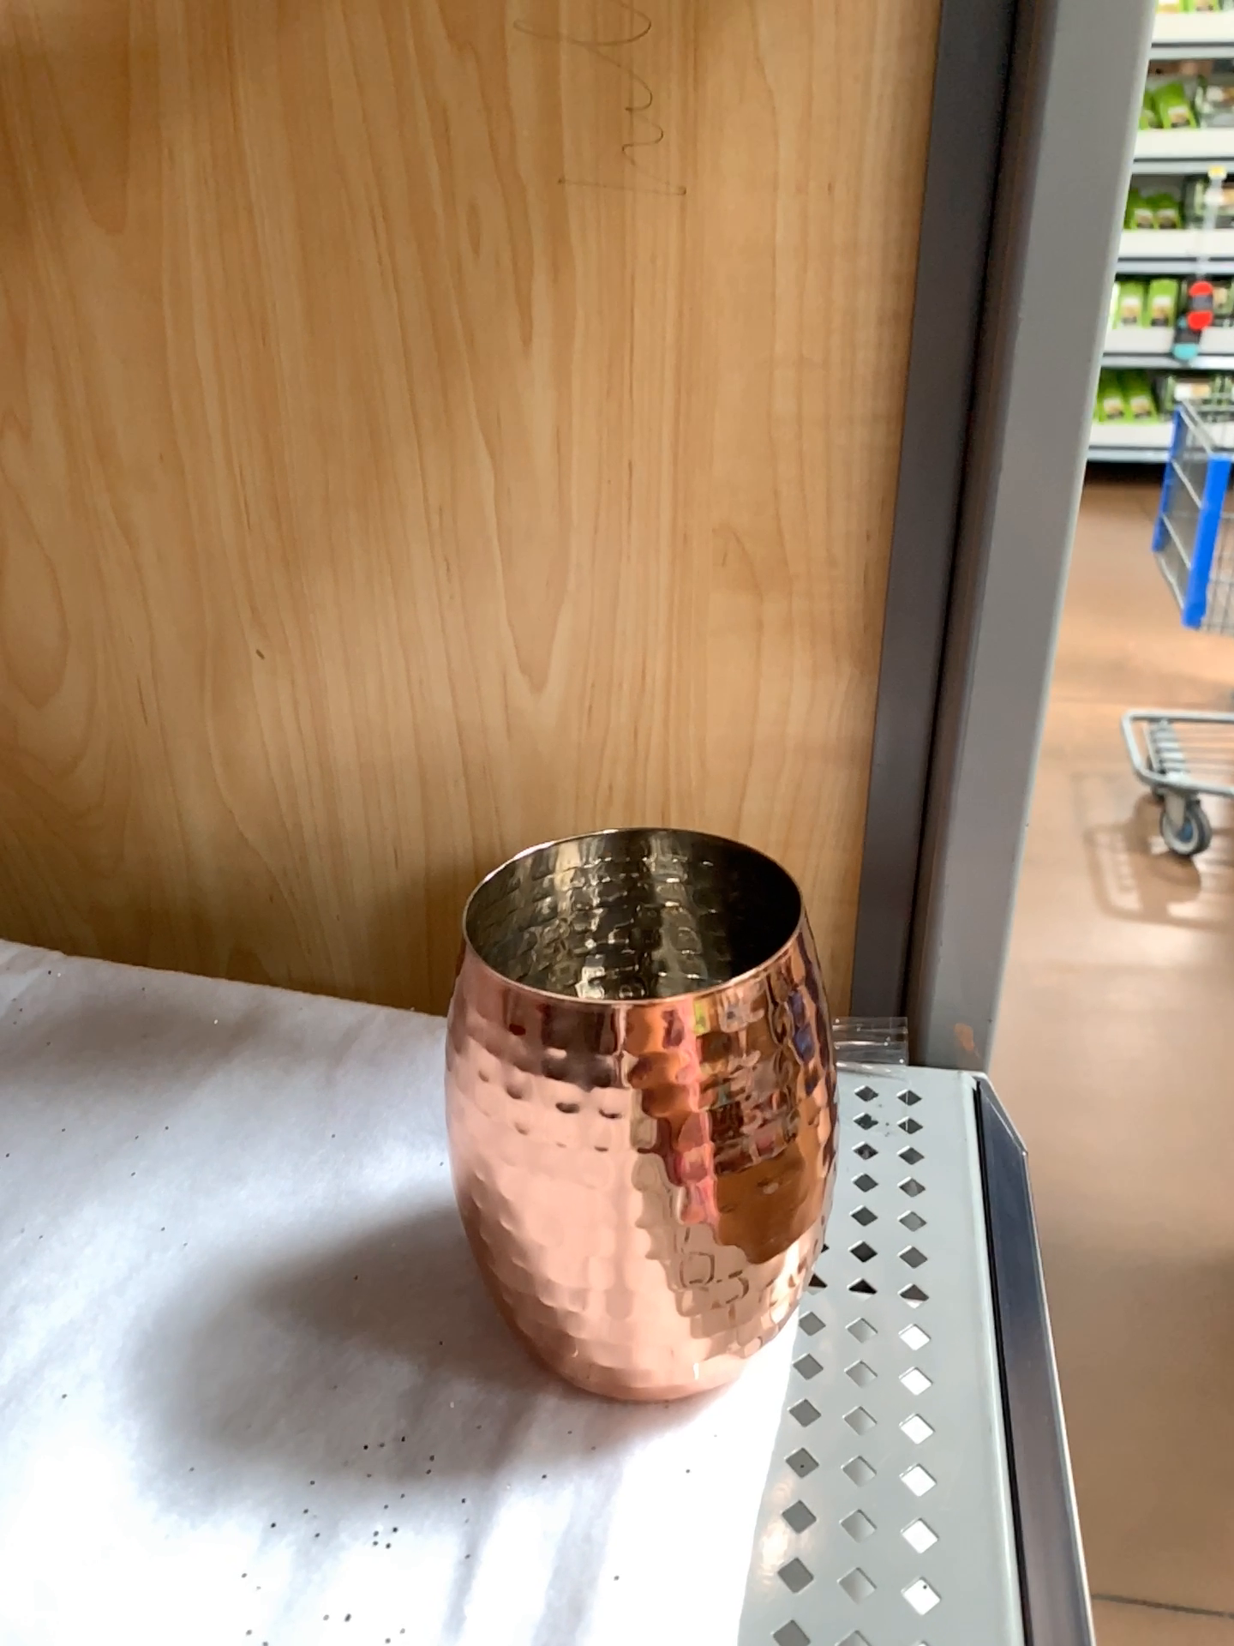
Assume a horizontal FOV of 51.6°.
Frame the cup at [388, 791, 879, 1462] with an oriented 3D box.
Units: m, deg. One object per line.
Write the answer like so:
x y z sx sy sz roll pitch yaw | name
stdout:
0.009 0.061 0.277 0.080 0.104 0.079 -1 28 0 | cup
